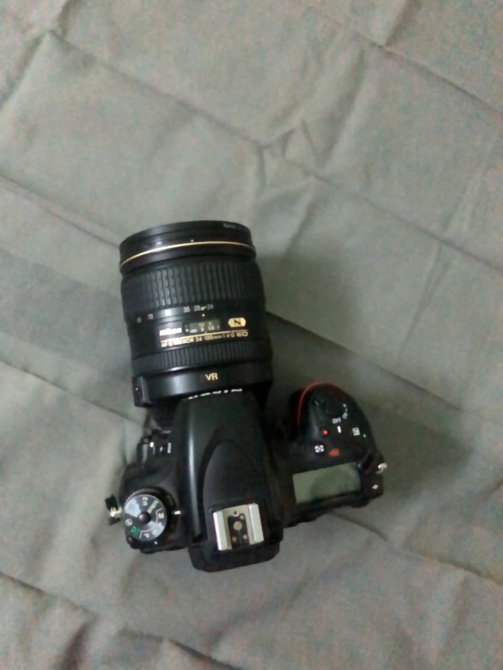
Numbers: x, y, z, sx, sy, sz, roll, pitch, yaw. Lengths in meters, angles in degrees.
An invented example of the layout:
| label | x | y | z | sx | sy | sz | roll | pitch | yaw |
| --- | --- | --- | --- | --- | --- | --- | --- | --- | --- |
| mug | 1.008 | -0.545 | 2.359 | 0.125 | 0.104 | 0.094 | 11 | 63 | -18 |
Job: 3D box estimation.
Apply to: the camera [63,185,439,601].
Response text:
| label | x | y | z | sx | sy | sz | roll | pitch | yaw |
| --- | --- | --- | --- | --- | --- | --- | --- | --- | --- |
| camera | -0.009 | 0.026 | 0.312 | 0.146 | 0.135 | 0.163 | -8 | 85 | -10 |
